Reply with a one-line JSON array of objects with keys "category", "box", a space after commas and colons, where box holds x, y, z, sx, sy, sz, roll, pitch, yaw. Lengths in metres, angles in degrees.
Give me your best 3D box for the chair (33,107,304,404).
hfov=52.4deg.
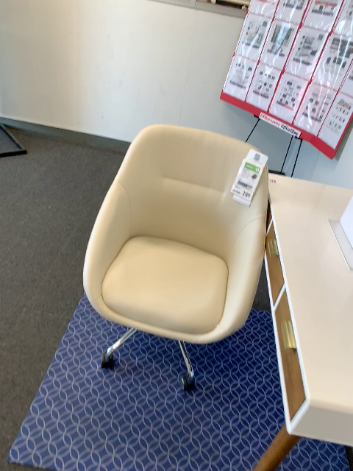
[{"category": "chair", "box": [-0.035, 0.046, 1.364, 0.670, 0.736, 0.694, 12, 35, 1]}]
